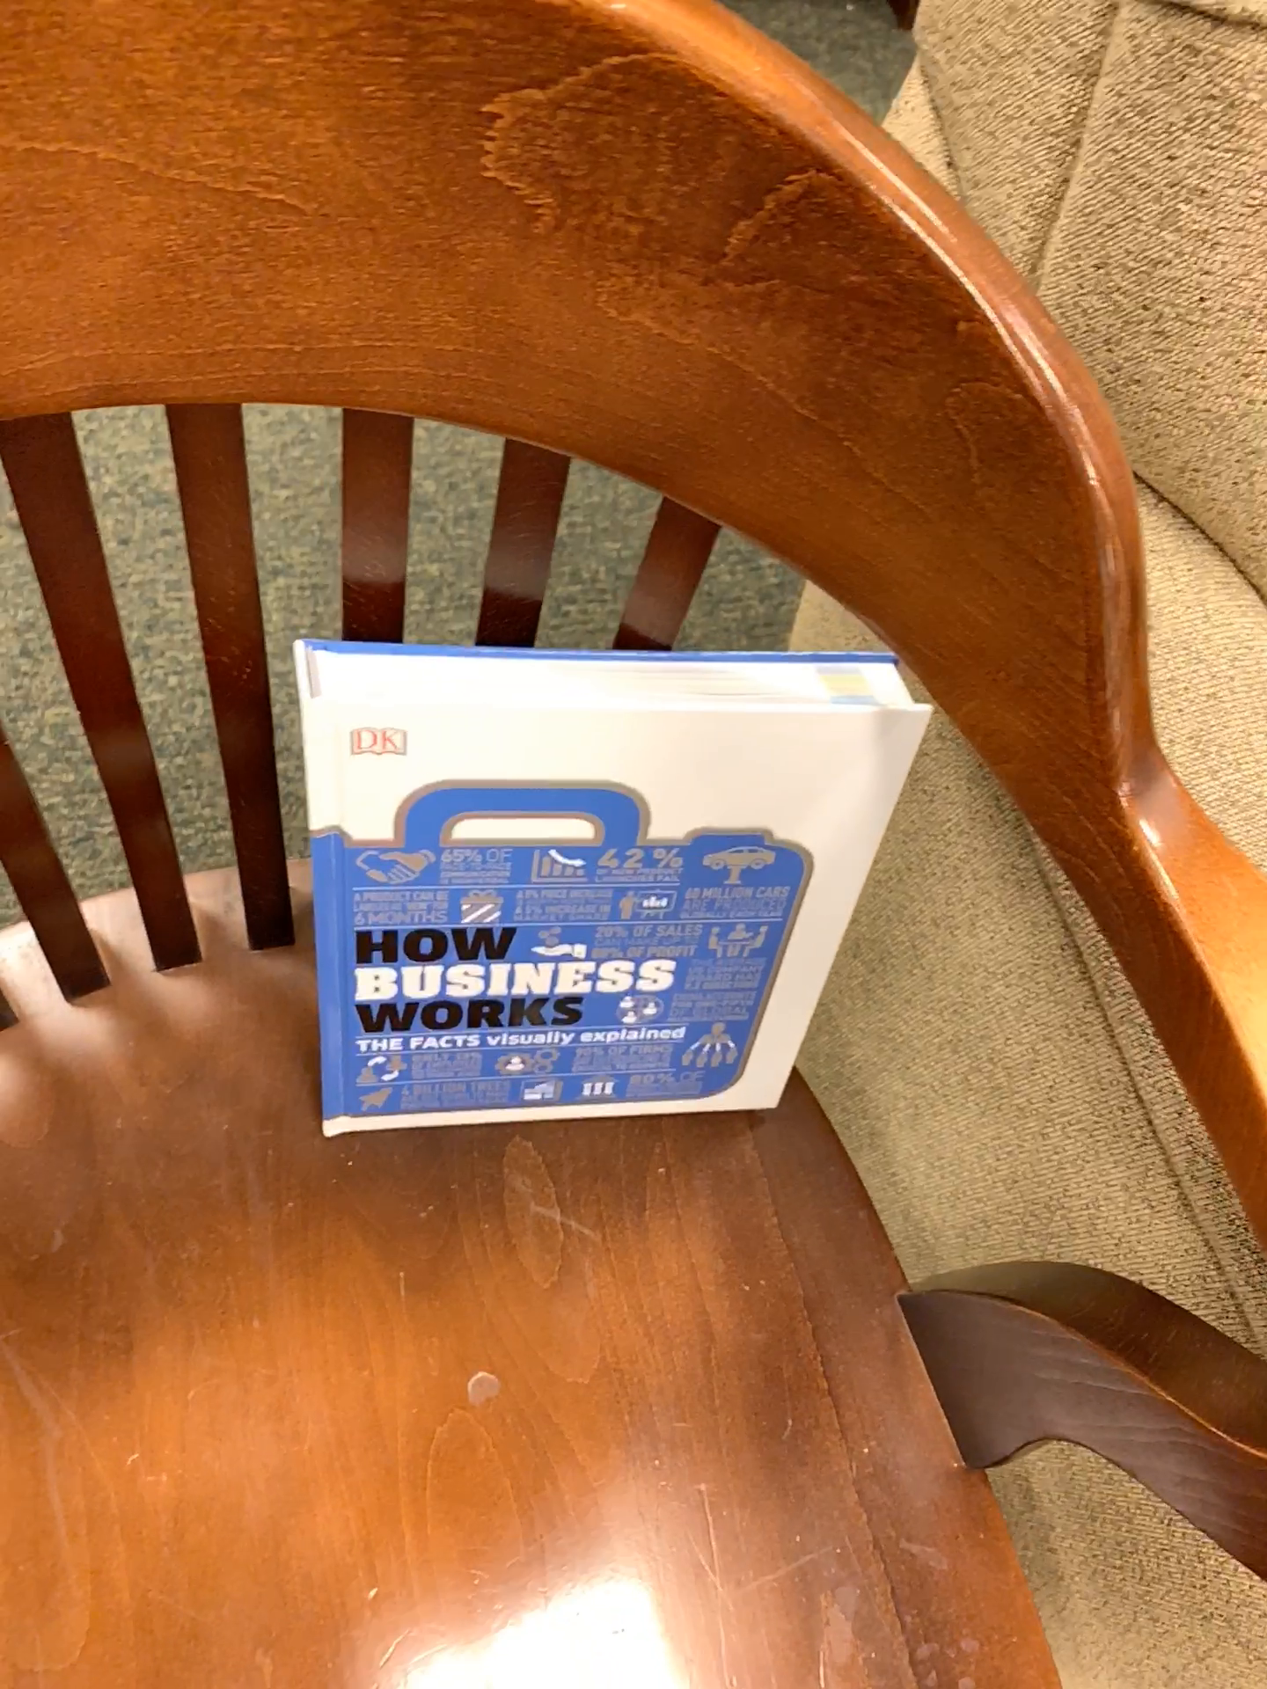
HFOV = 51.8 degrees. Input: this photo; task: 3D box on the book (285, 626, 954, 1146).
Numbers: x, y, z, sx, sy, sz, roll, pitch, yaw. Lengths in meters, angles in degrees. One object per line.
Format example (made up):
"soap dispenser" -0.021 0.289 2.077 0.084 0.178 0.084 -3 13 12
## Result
"book" -0.021 0.029 0.503 0.211 0.246 0.039 -1 47 -13
